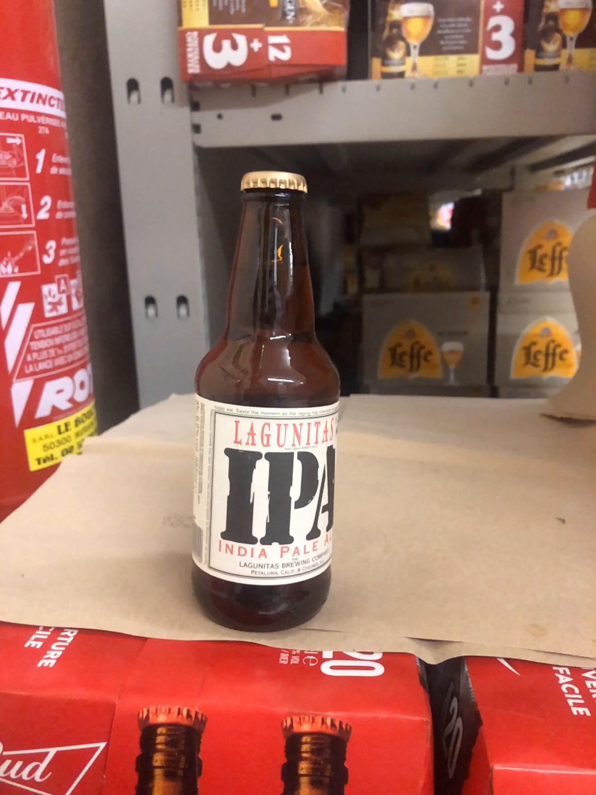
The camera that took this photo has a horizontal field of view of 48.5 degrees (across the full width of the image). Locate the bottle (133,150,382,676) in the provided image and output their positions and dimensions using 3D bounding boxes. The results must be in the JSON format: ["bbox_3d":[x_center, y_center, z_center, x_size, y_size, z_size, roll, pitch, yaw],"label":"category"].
[{"bbox_3d":[-0.025,0.003,0.294,0.080,0.199,0.080,2,13,-1],"label":"bottle"}]
